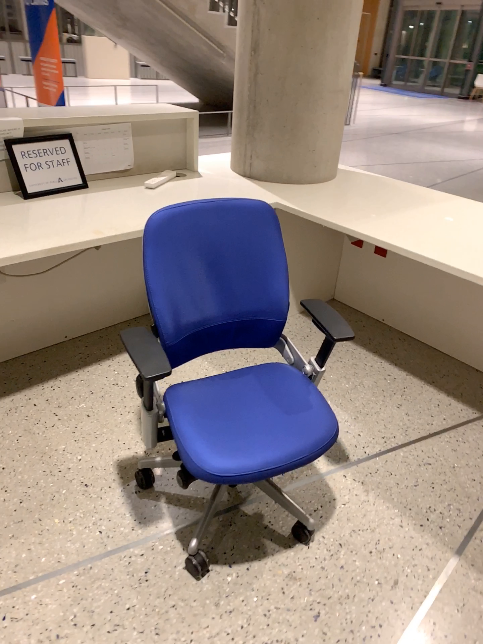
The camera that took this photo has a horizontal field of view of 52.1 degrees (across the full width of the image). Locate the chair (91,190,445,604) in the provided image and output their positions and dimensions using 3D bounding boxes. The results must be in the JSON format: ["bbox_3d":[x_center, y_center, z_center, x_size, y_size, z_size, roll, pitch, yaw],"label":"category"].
[{"bbox_3d":[0.004,0.150,1.487,0.687,0.880,0.651,-11,33,-25],"label":"chair"}]
